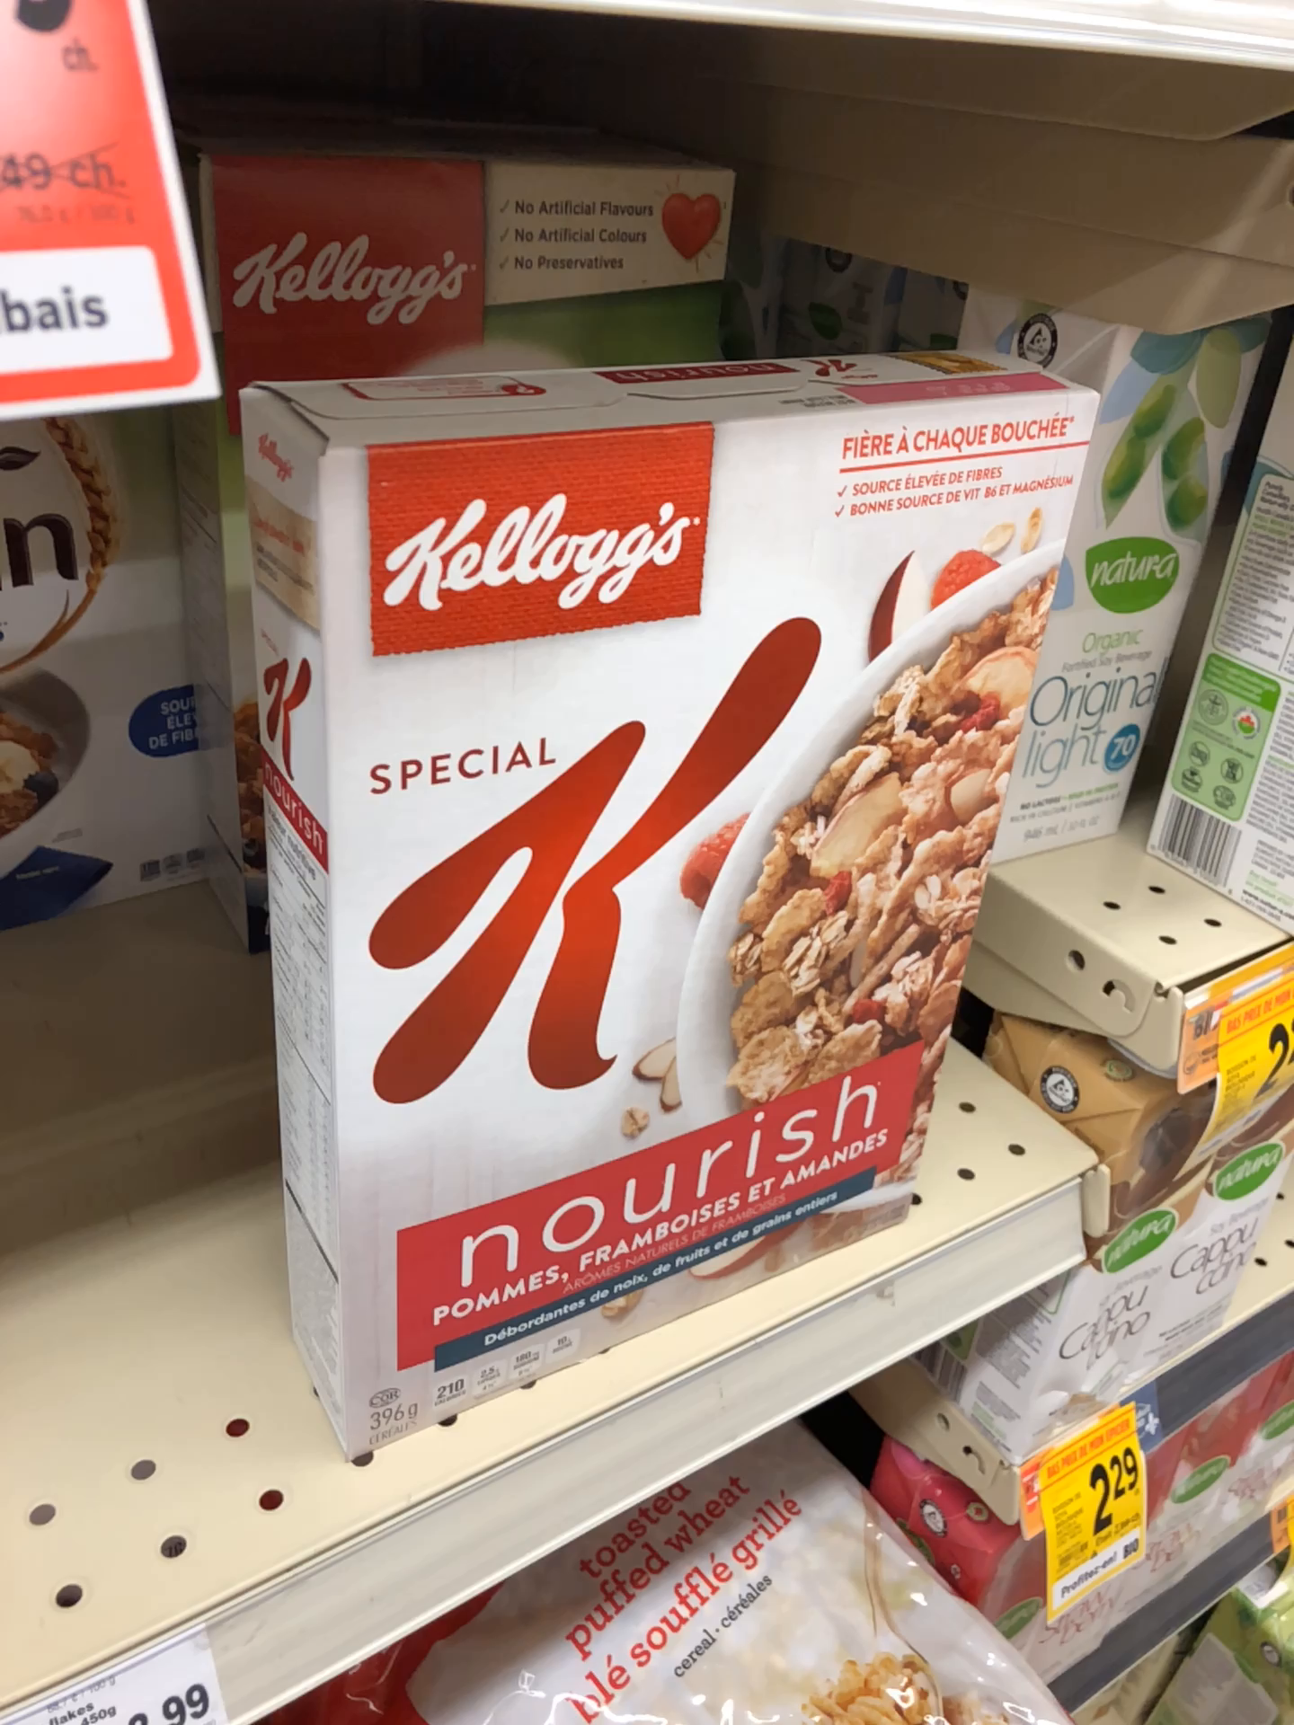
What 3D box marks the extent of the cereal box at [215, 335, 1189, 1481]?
[{"bbox_3d":[0.009,0.007,0.353,0.200,0.248,0.060,-13,35,-29],"label":"cereal box"}]
